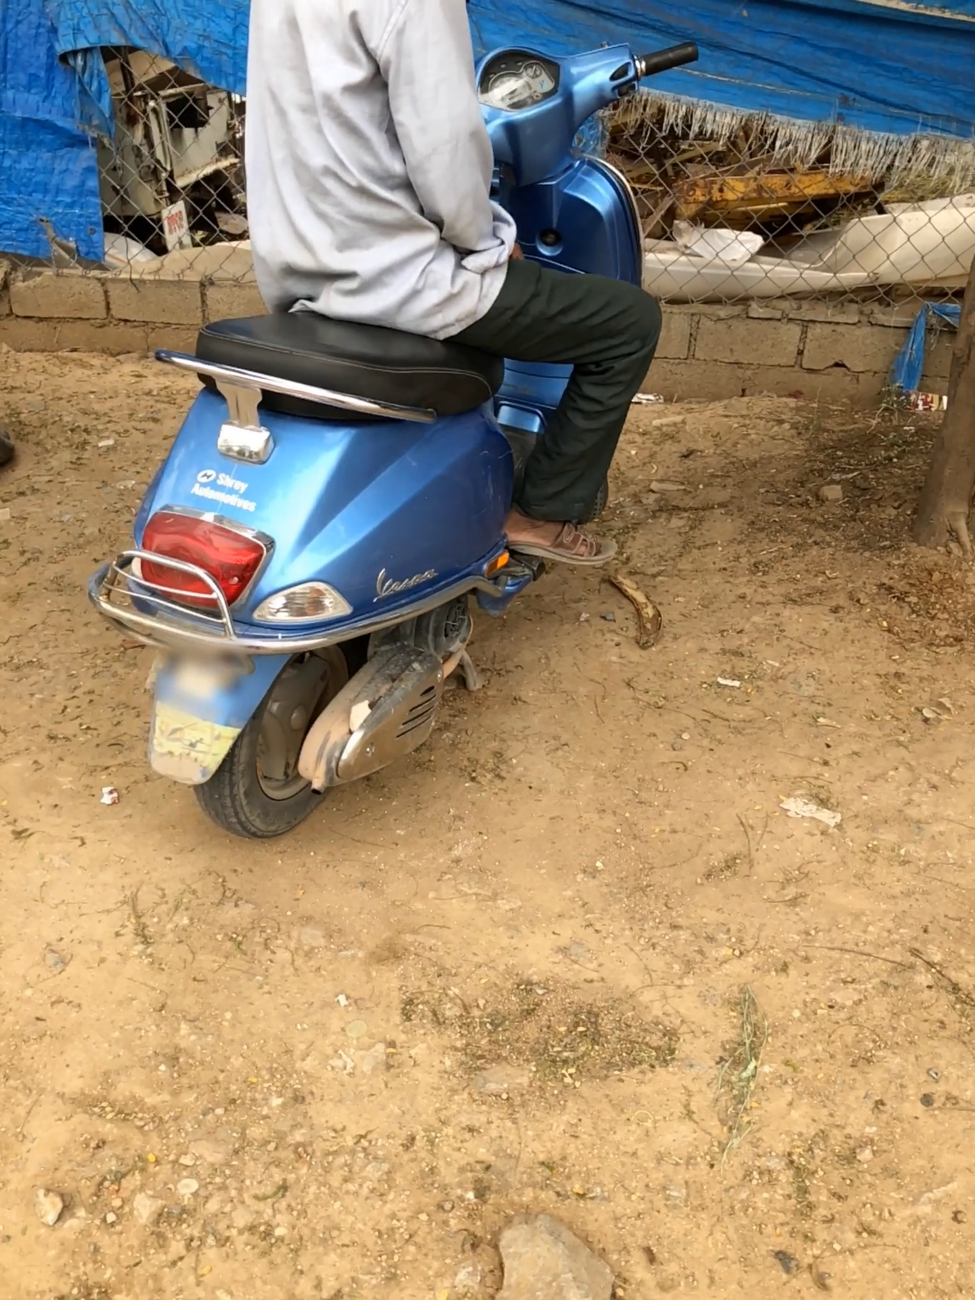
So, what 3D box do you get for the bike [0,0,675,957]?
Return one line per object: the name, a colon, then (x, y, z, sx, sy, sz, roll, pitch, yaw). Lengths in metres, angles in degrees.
bike: (-0.123, -0.611, 2.071, 0.631, 1.253, 1.576, 10, 34, 13)
